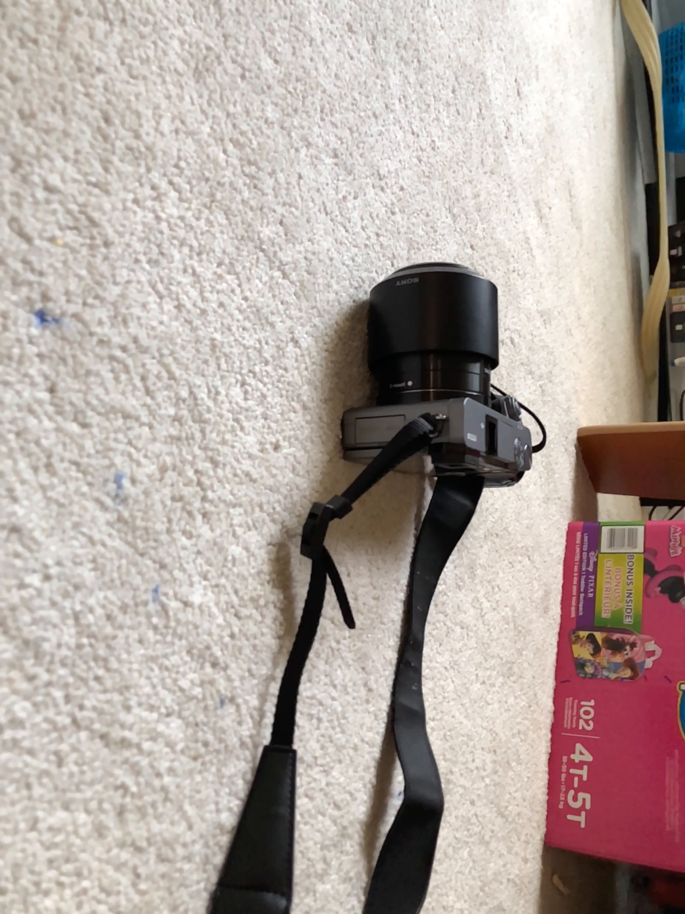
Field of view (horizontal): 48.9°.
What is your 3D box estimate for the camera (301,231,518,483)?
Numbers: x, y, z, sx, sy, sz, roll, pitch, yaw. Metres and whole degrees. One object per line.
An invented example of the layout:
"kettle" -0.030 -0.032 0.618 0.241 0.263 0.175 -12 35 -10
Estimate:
"camera" 0.040 -0.041 0.393 0.121 0.070 0.100 12 76 -61
